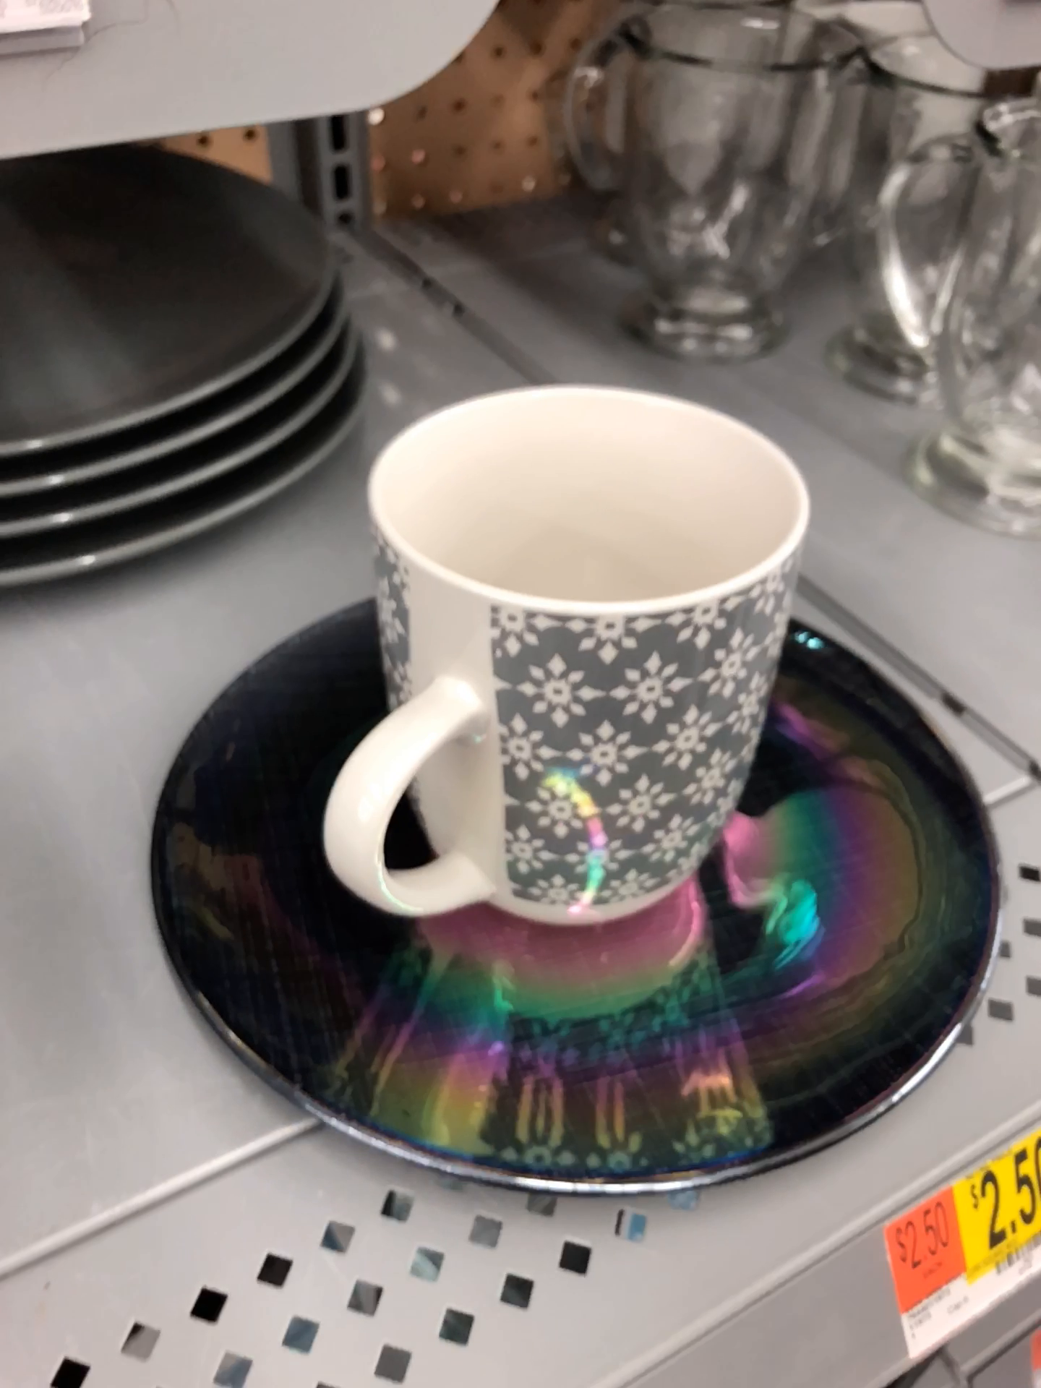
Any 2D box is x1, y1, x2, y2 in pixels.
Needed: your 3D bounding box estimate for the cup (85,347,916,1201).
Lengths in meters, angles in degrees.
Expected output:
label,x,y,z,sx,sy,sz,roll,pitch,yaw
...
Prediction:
label,x,y,z,sx,sy,sz,roll,pitch,yaw
cup,0.002,0.006,0.248,0.093,0.096,0.130,28,47,27
